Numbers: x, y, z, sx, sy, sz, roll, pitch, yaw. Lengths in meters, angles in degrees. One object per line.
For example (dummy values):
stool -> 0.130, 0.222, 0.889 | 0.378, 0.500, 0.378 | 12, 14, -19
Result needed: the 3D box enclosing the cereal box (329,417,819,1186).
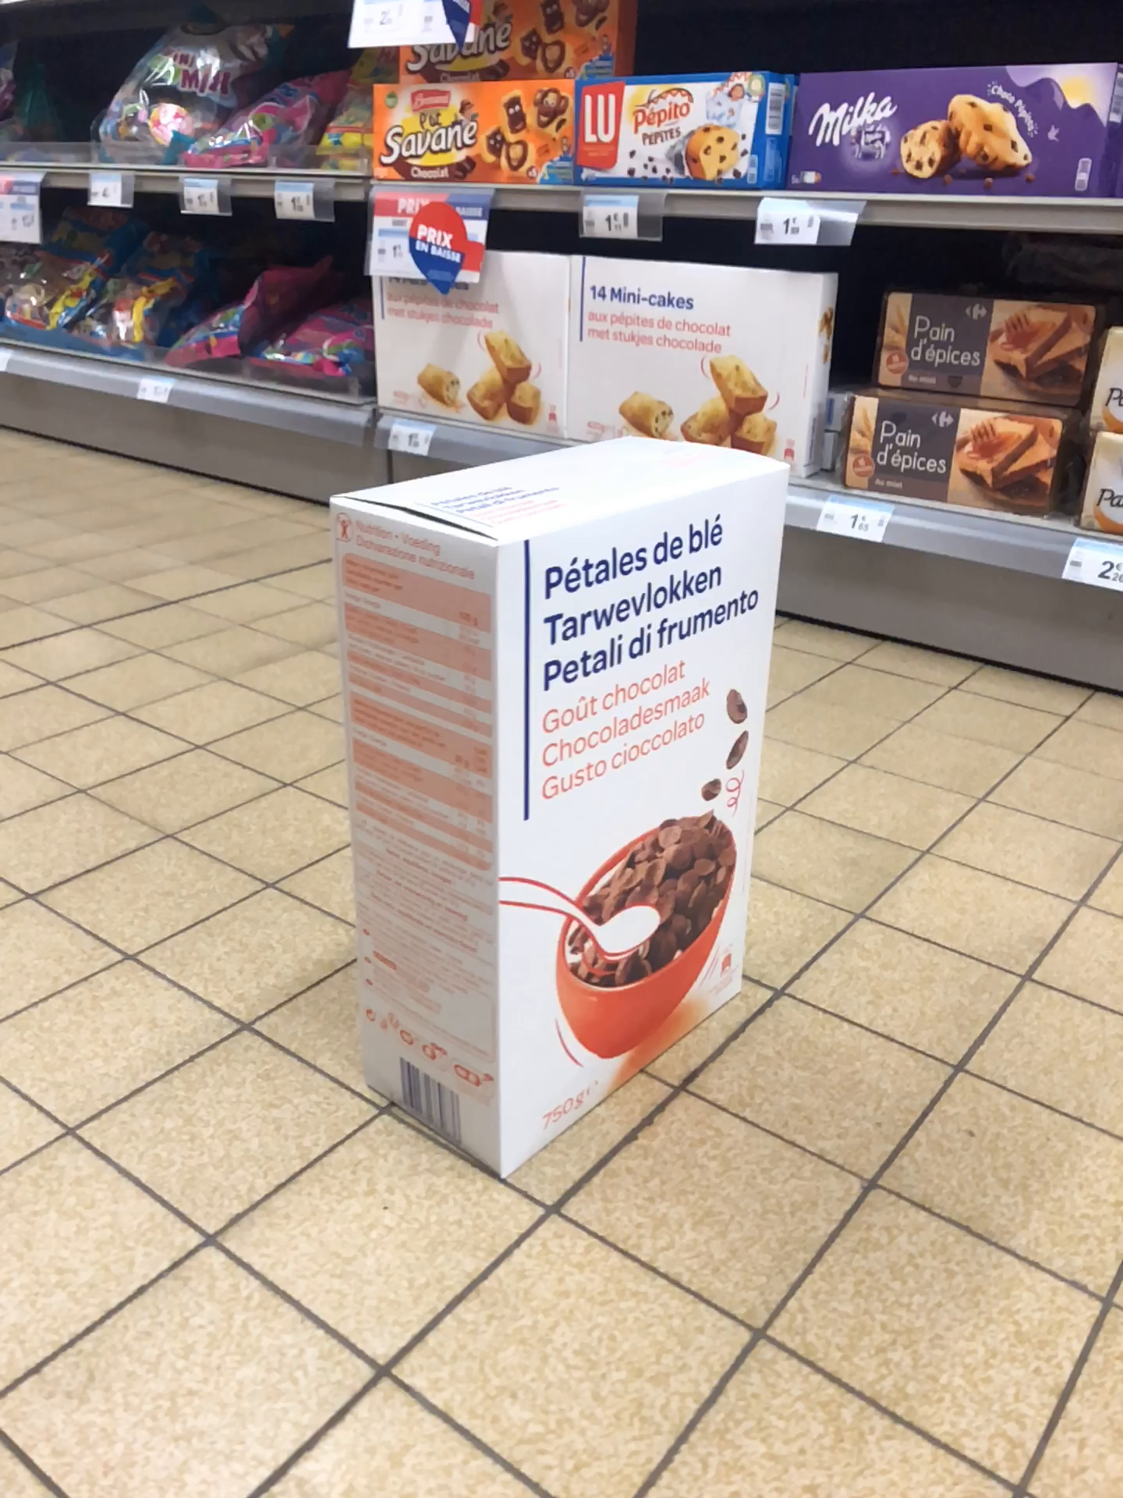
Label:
cereal box -> 0.010, 0.011, 0.570 | 0.100, 0.288, 0.201 | 20, 29, 35
